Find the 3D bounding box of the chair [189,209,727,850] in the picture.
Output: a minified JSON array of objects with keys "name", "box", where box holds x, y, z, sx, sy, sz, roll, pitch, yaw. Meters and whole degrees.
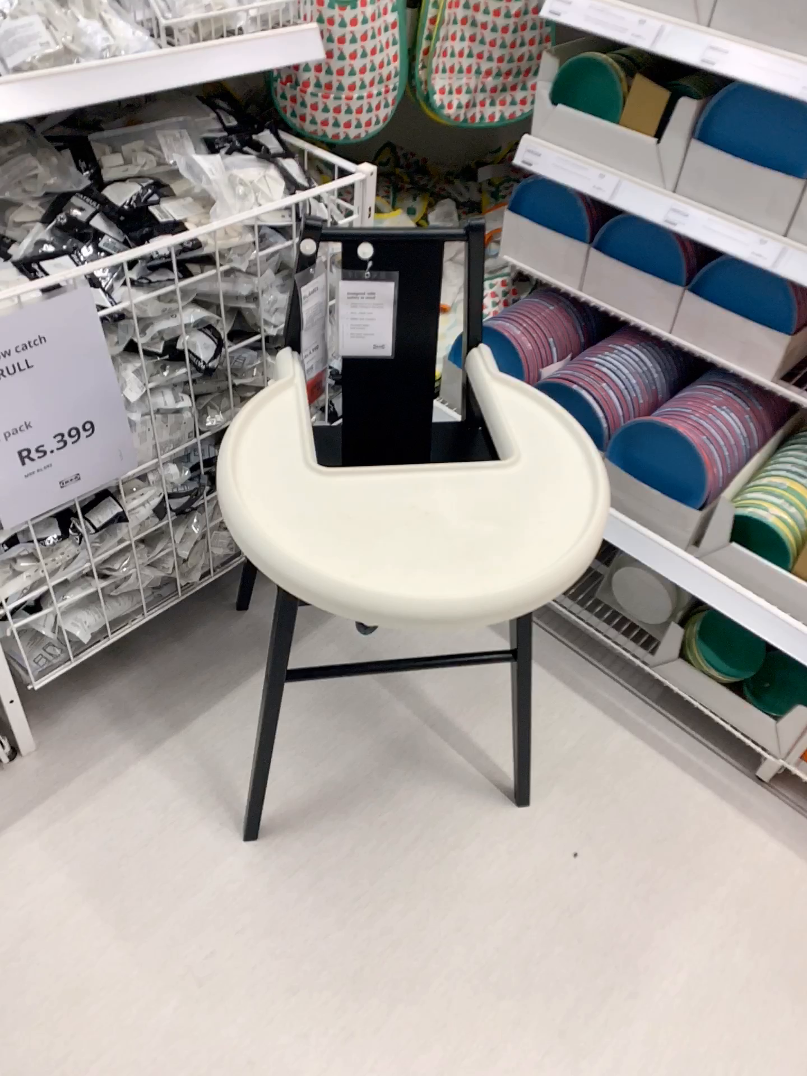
[{"name":"chair","box":[-0.012,0.007,1.244,0.530,0.777,0.552,-3,46,-10]}]
